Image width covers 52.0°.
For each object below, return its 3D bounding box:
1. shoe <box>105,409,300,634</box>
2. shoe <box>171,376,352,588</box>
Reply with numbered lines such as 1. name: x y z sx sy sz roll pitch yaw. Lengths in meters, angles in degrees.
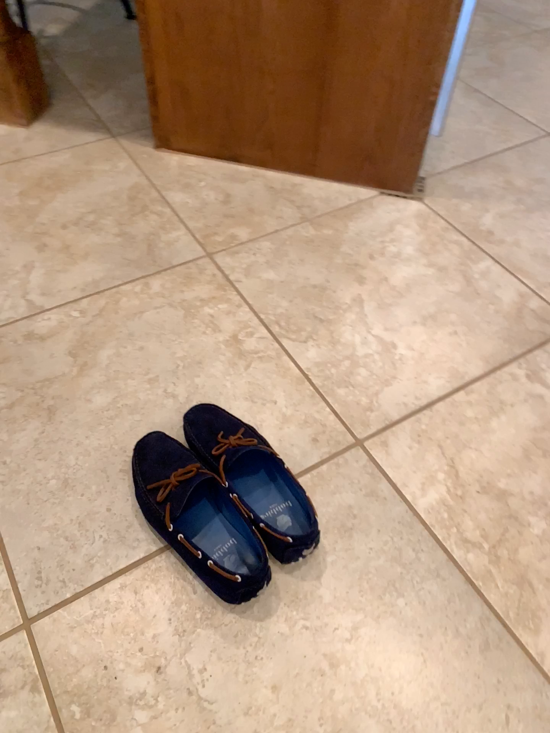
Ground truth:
1. shoe: -0.101 0.192 0.742 0.099 0.074 0.282 -32 59 -26
2. shoe: -0.027 0.149 0.784 0.099 0.074 0.282 -28 57 -24
